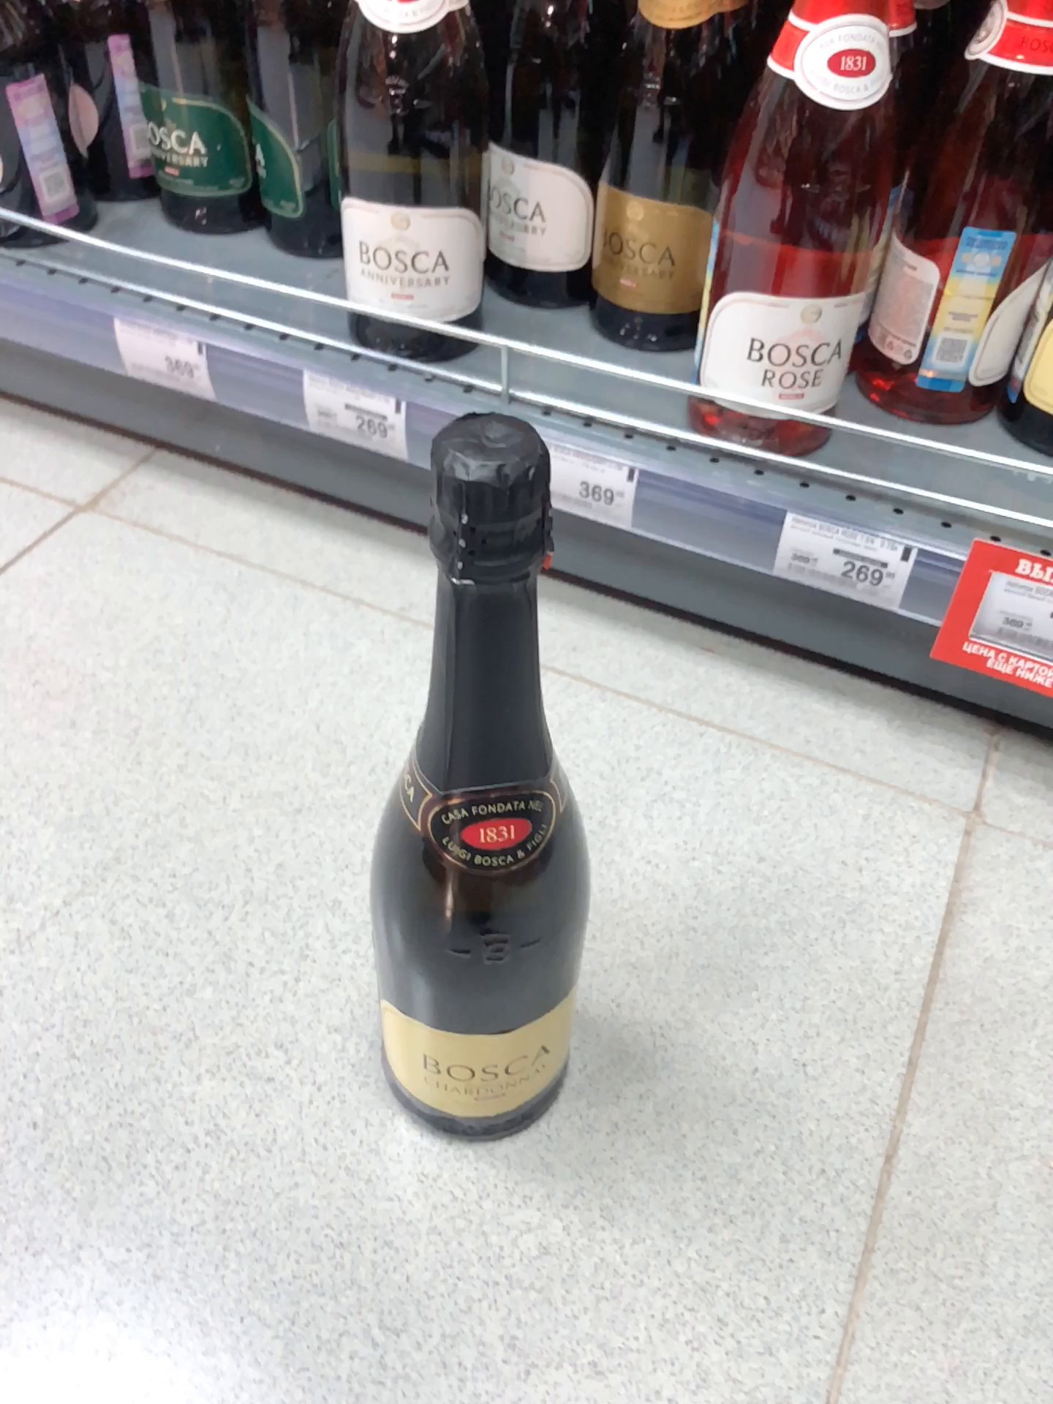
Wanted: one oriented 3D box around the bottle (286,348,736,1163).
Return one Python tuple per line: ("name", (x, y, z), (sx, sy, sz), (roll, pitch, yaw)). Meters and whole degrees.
("bottle", (-0.010, 0.046, 0.400), (0.100, 0.311, 0.090), (1, 44, -2))
